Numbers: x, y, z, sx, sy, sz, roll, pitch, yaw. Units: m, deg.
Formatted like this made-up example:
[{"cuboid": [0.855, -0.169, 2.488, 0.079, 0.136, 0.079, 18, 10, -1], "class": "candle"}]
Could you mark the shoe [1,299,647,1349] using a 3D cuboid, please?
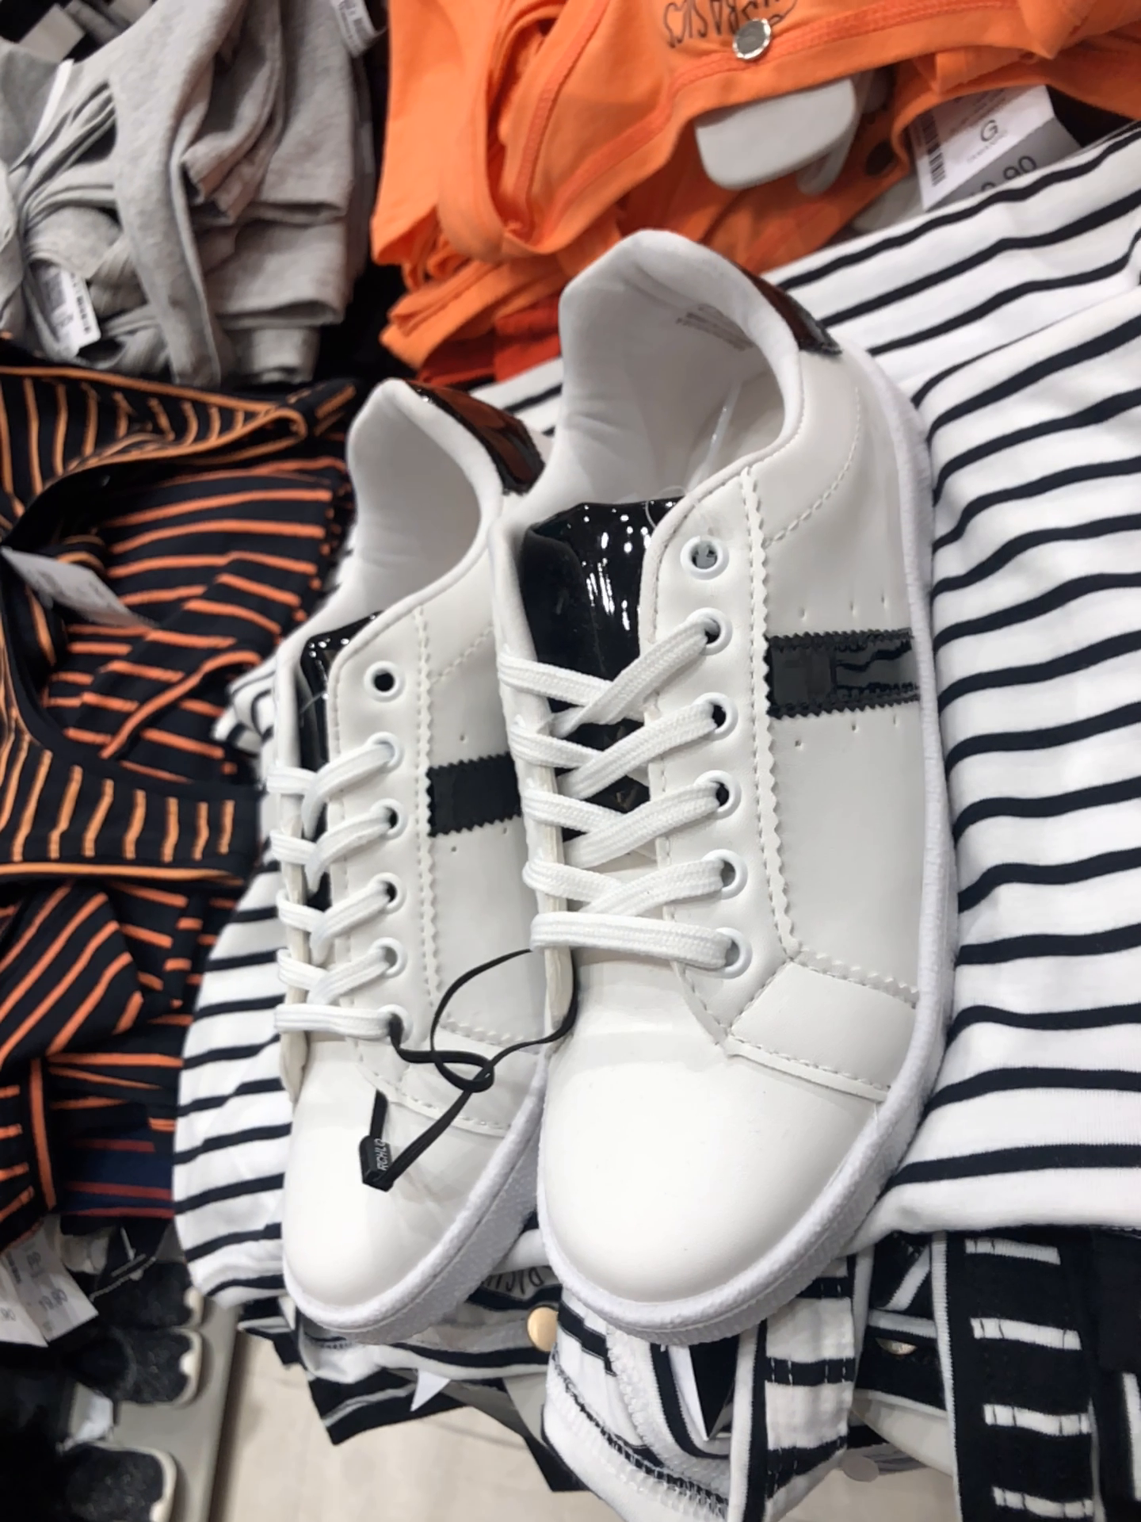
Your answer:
[{"cuboid": [-0.048, 0.015, 0.298, 0.080, 0.080, 0.210, -7, 67, 36], "class": "shoe"}]

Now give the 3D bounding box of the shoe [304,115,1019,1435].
[{"cuboid": [0.026, 0.002, 0.247, 0.090, 0.080, 0.210, -9, 66, 35], "class": "shoe"}]
